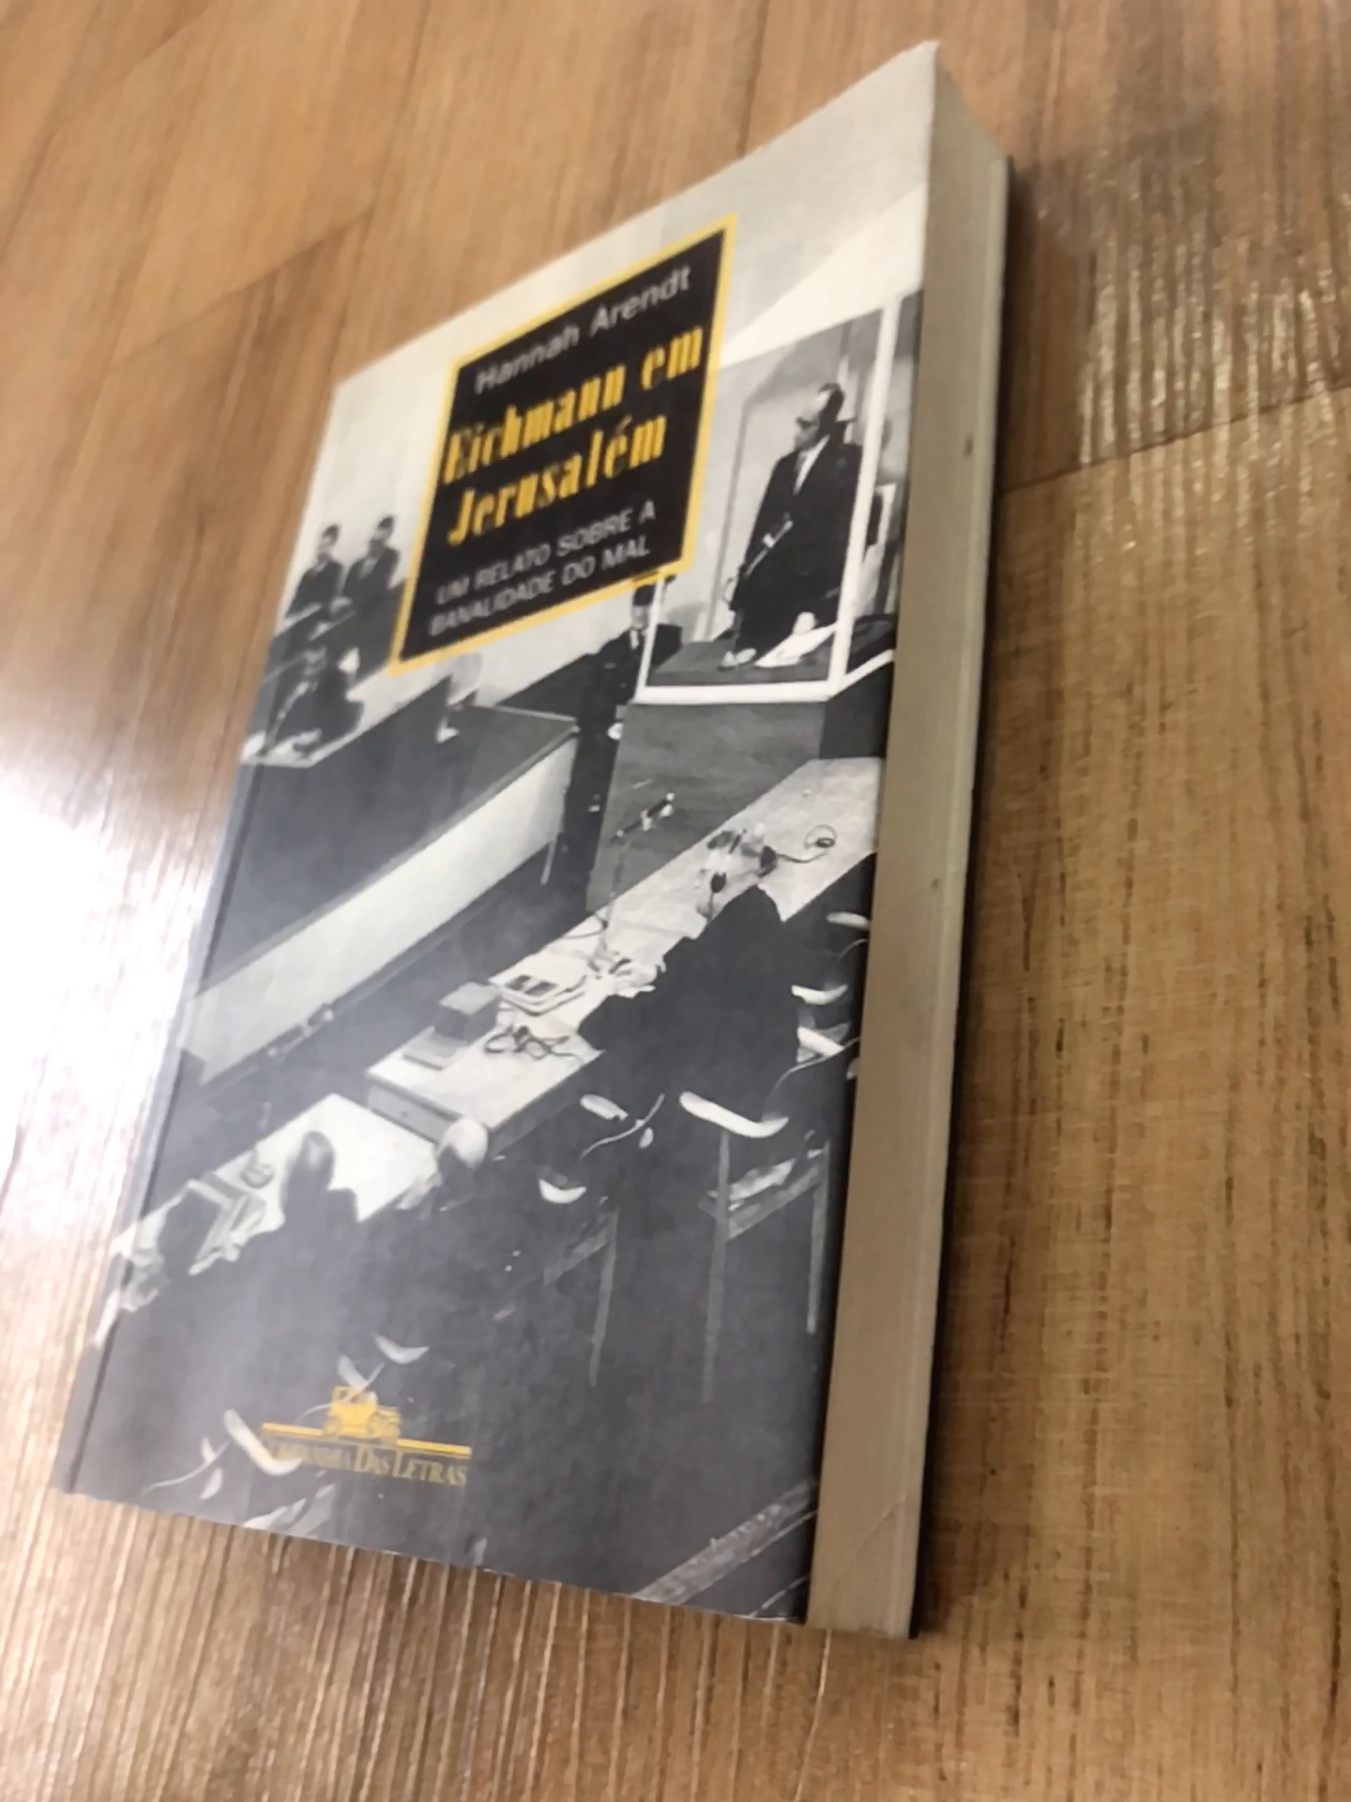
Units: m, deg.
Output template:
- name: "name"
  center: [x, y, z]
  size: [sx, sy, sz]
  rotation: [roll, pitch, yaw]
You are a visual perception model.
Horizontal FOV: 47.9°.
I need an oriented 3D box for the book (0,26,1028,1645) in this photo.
- name: "book"
  center: [-0.024, -0.013, 0.225]
  size: [0.141, 0.030, 0.200]
  rotation: [-10, 62, 38]
